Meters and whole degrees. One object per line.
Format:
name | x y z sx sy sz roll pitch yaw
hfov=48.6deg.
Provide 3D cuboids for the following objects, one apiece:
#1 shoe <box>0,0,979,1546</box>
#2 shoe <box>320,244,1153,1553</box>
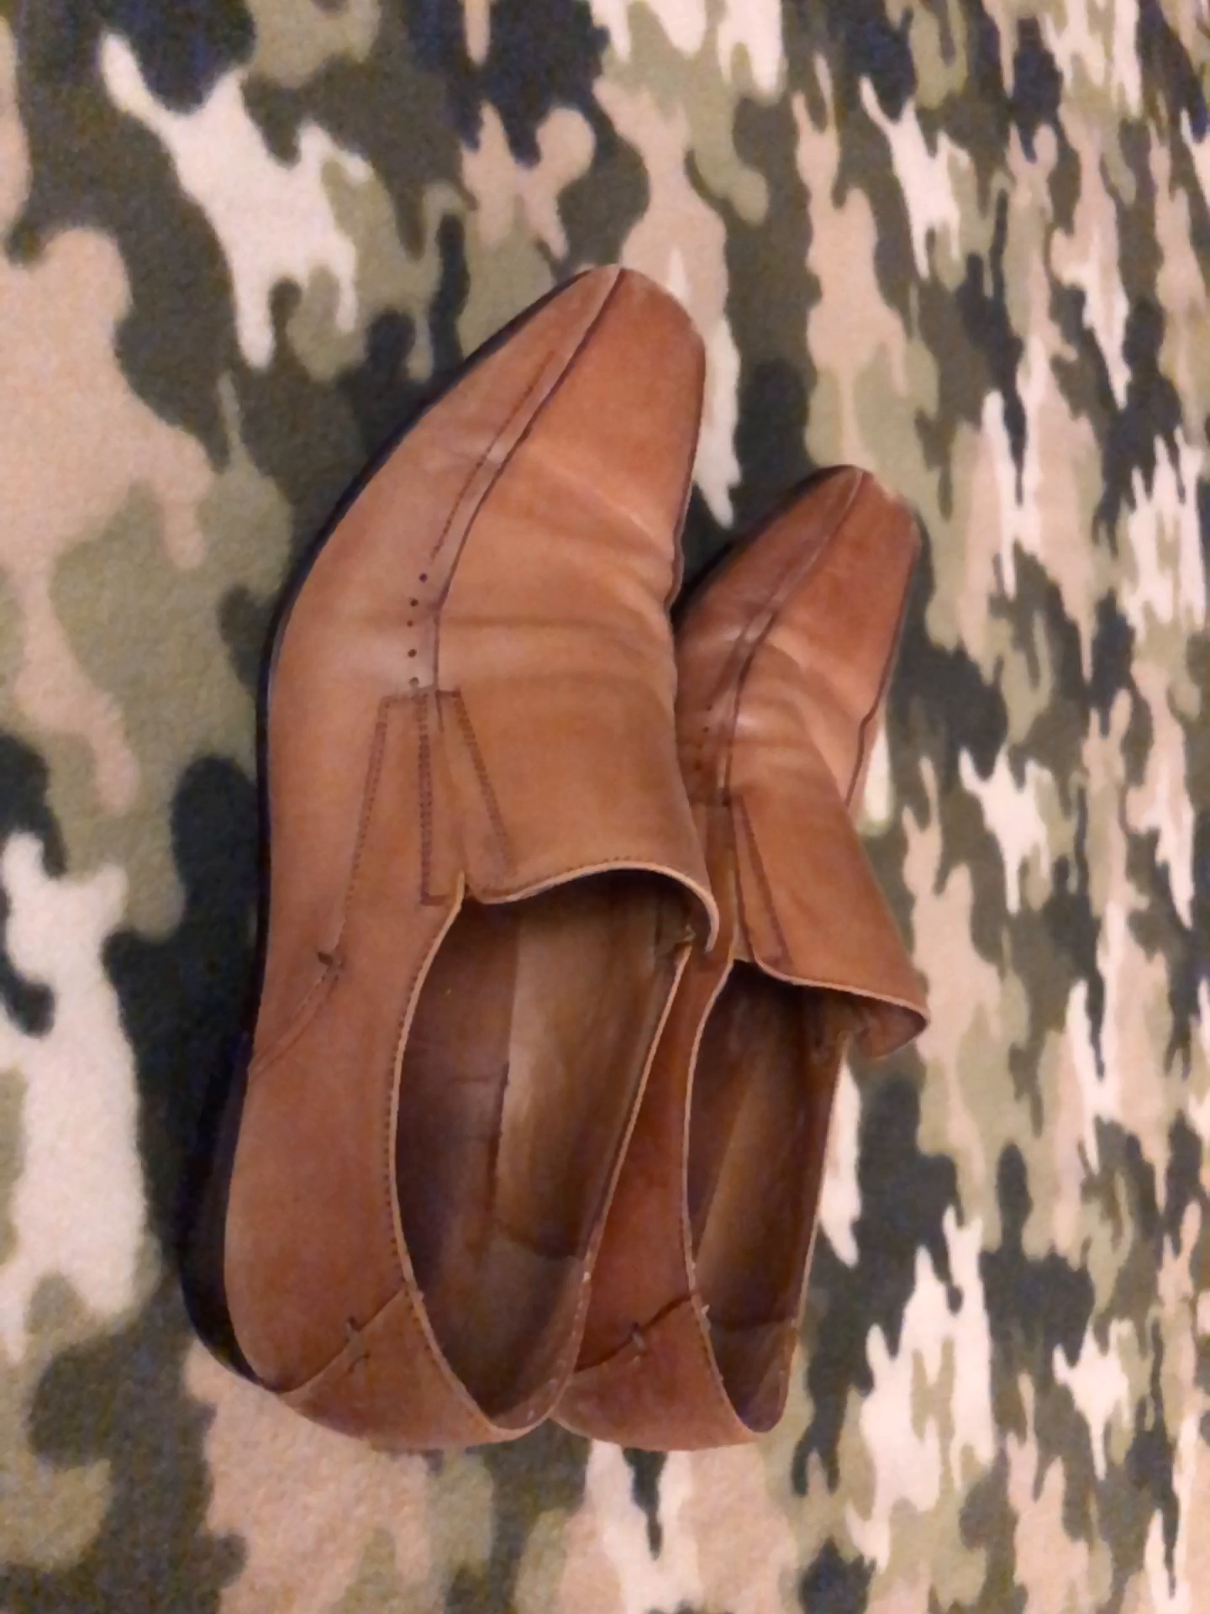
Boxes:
shoe | -0.017 -0.021 0.317 0.110 0.119 0.320 28 69 -40
shoe | 0.052 0.016 0.389 0.110 0.119 0.321 35 65 -38
